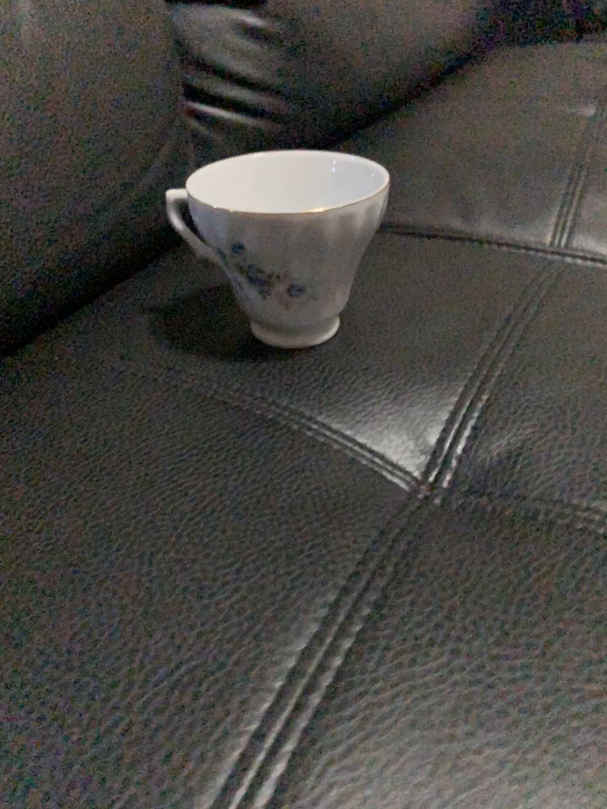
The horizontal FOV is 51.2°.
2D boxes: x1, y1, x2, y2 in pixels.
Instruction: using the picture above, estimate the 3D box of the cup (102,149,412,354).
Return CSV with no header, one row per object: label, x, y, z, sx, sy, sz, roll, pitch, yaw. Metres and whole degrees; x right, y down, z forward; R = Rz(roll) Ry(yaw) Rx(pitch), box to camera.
cup,-0.013,-0.076,0.292,0.113,0.059,0.094,6,33,12
